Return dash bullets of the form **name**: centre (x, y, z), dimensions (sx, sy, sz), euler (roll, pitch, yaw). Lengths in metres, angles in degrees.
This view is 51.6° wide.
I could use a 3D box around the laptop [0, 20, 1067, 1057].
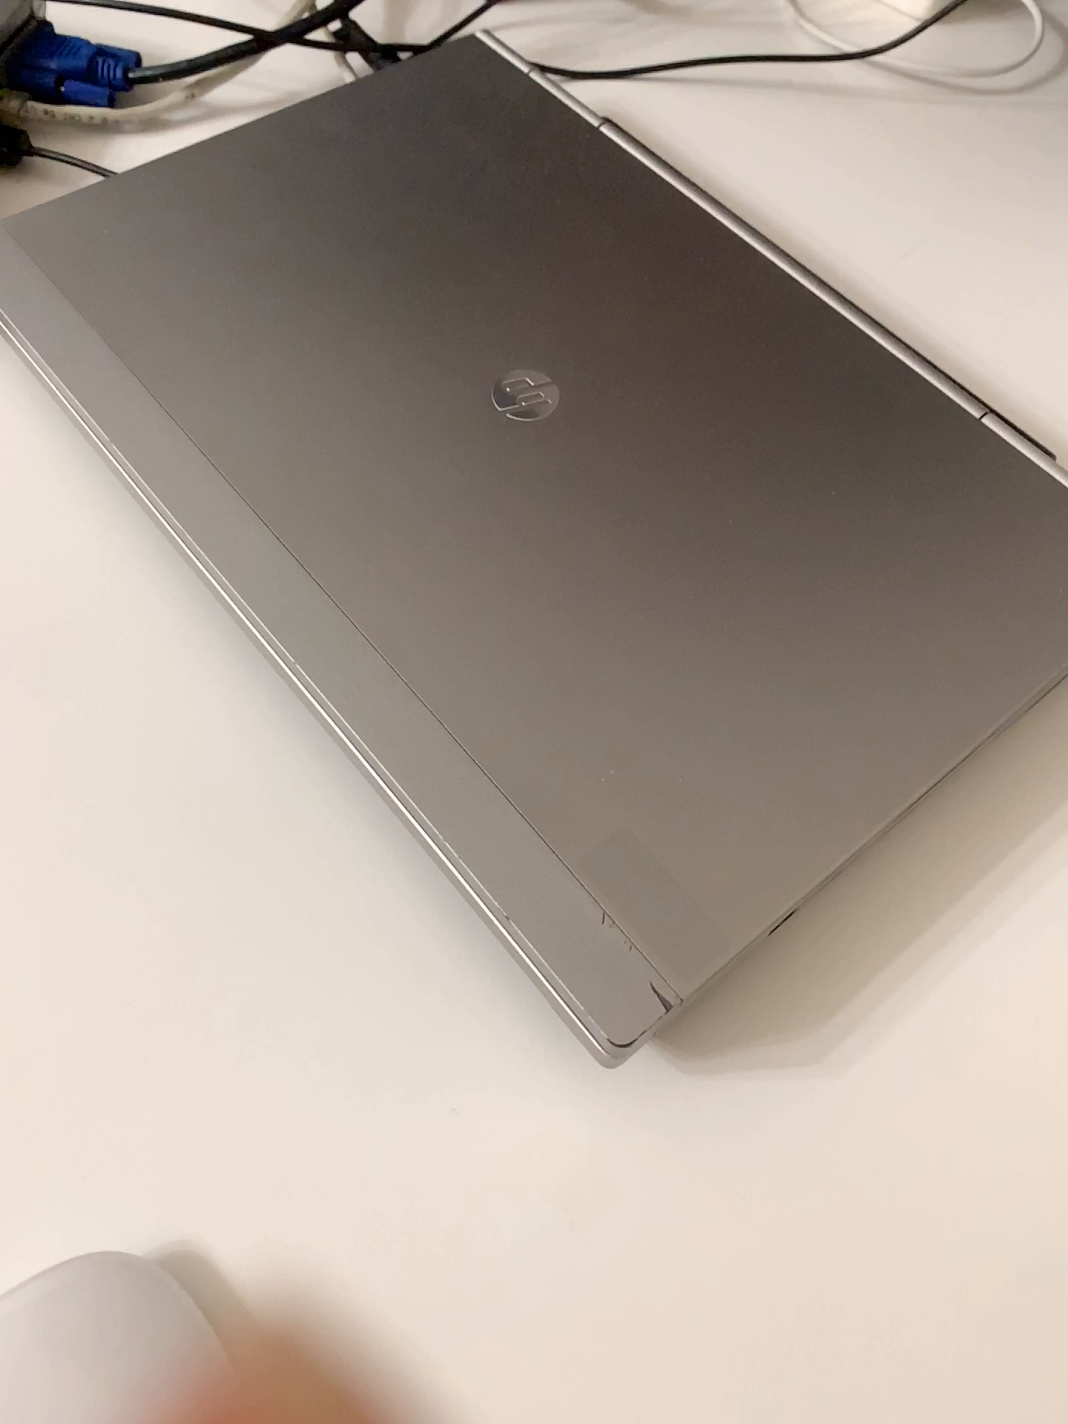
- **laptop**: centre (0.000, -0.085, 0.315), dimensions (0.192, 0.016, 0.292), euler (-35, 68, -18)
